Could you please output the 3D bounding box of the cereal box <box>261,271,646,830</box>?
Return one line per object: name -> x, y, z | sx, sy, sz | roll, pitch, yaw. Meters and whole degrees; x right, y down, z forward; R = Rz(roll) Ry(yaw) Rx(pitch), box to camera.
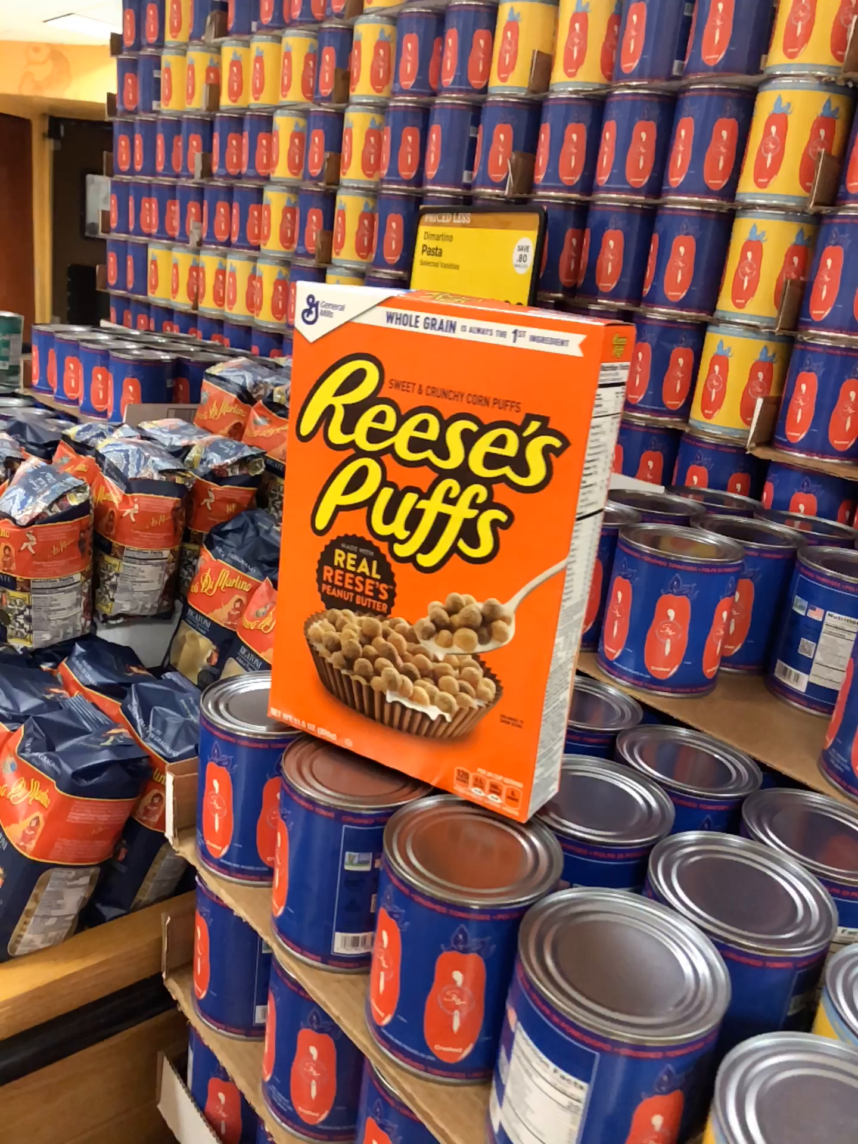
cereal box -> 0.001, -0.019, 0.567 | 0.200, 0.288, 0.050 | 16, 19, 28
